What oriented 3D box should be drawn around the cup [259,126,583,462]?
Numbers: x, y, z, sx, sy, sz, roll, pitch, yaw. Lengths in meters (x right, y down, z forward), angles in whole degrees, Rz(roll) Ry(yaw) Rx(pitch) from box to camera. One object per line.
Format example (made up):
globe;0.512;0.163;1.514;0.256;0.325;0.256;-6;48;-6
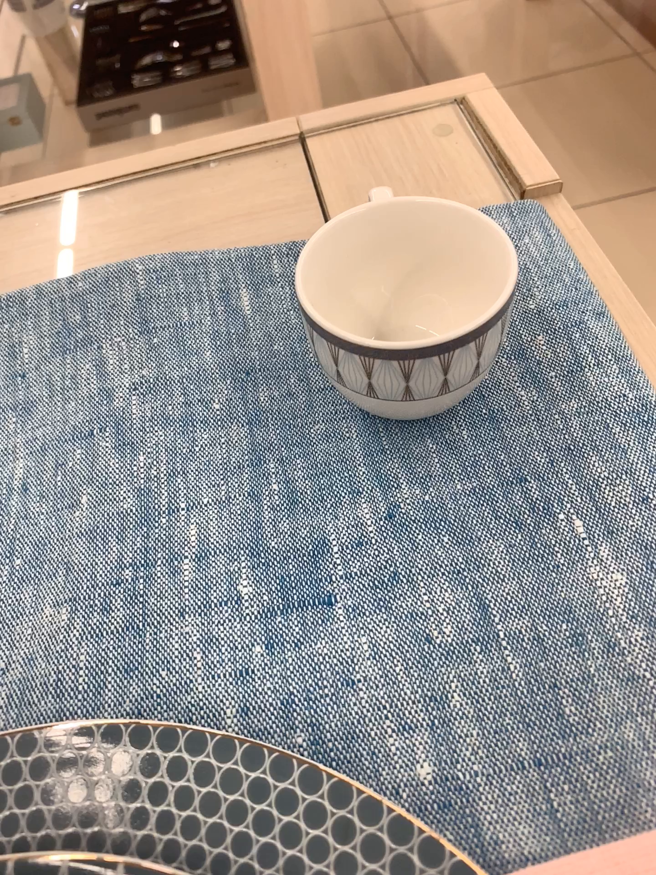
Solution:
cup;0.024;-0.048;0.215;0.070;0.040;0.090;-15;53;-1
